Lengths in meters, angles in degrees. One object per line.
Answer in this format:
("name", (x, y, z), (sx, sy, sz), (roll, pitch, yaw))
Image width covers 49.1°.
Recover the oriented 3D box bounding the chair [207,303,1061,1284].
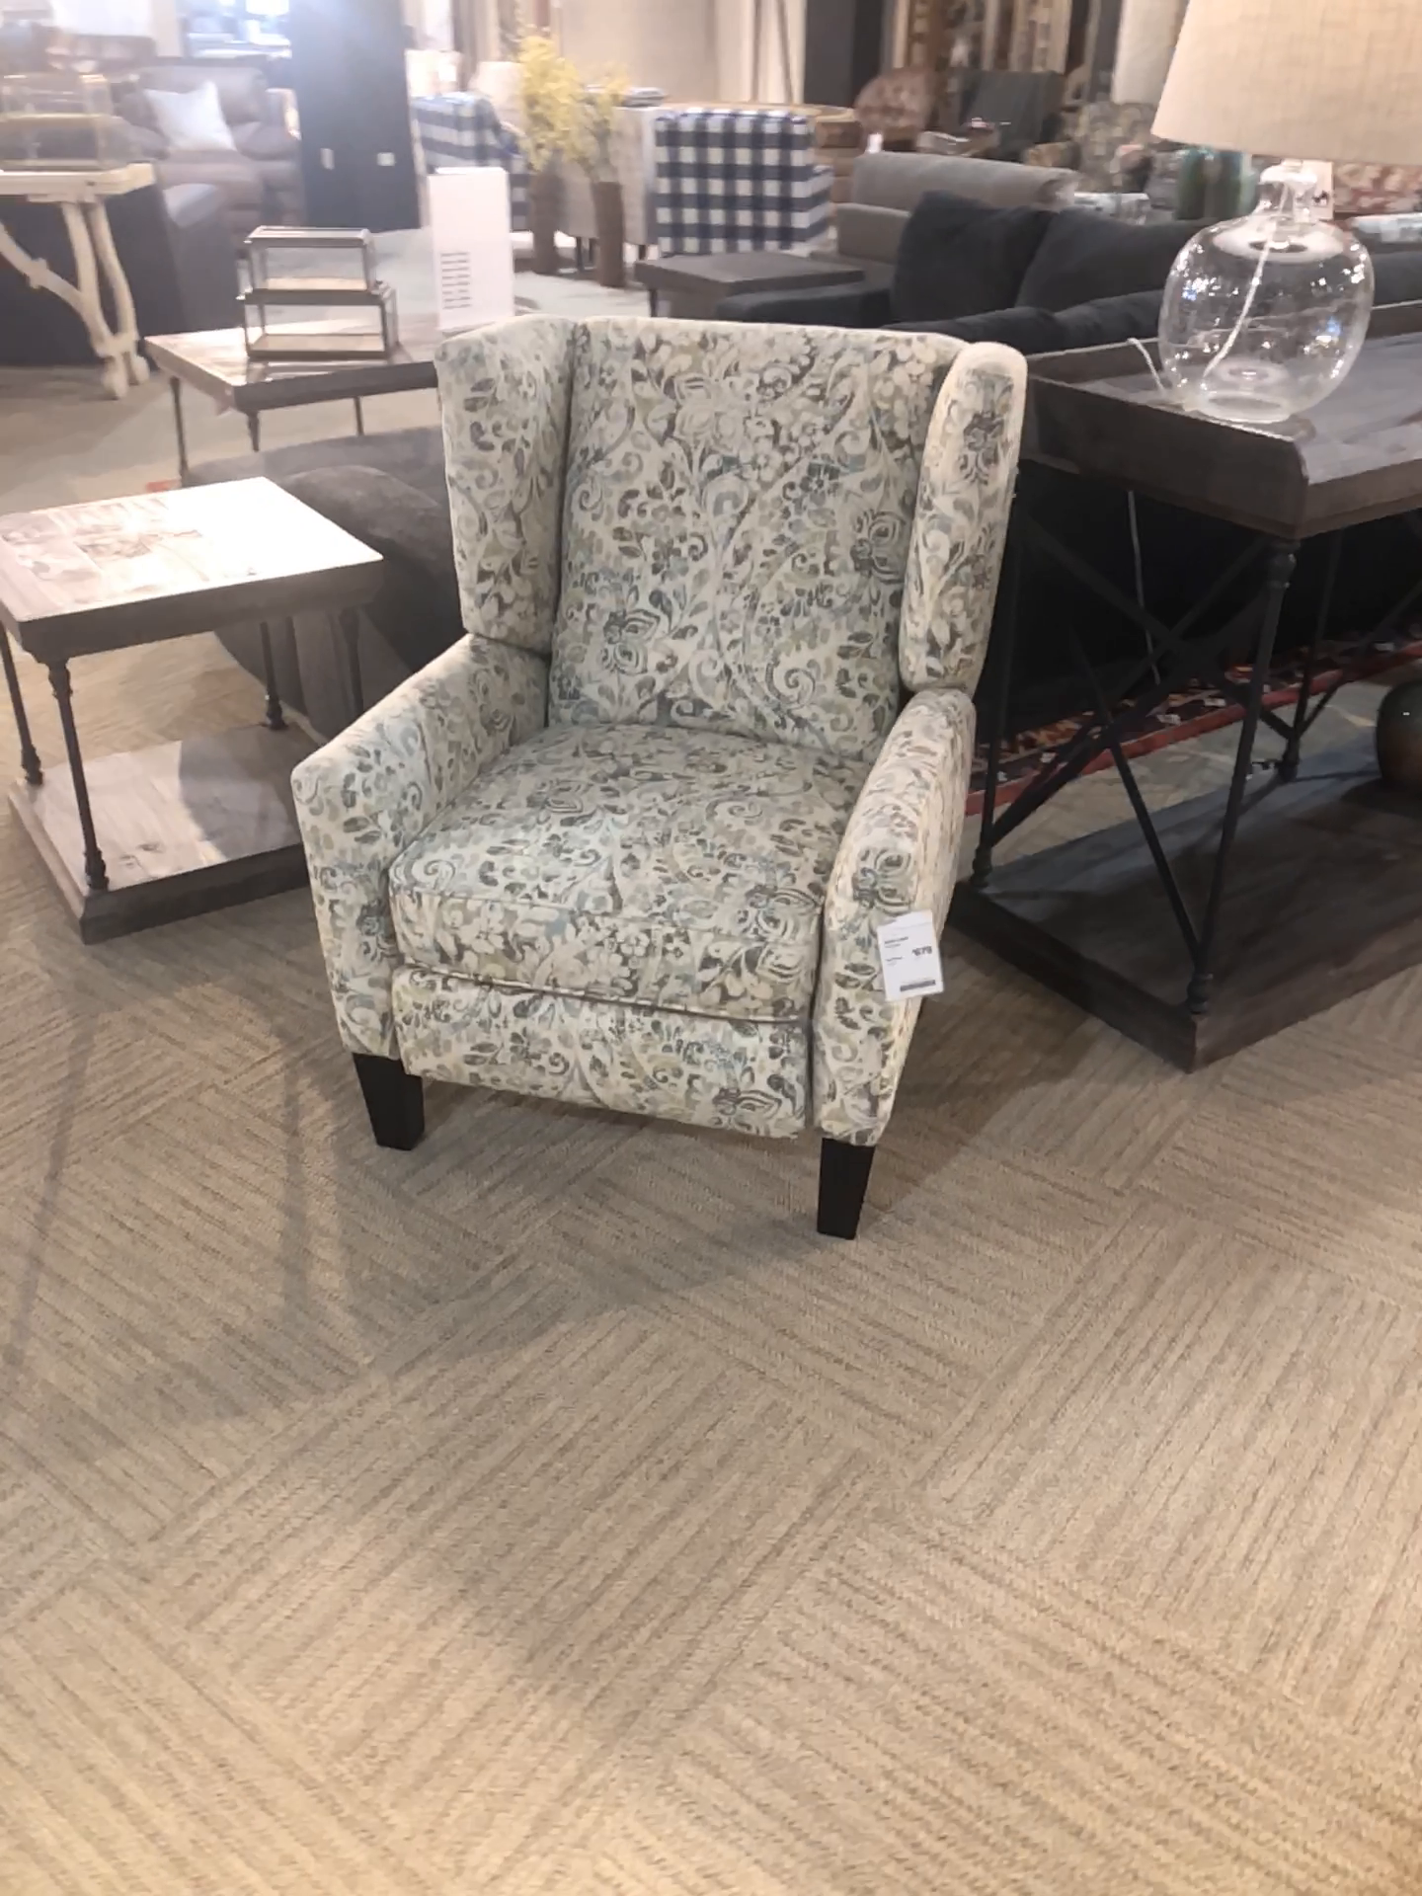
("chair", (-0.036, -0.268, 2.101), (0.780, 0.975, 0.804), (10, 32, 16))
